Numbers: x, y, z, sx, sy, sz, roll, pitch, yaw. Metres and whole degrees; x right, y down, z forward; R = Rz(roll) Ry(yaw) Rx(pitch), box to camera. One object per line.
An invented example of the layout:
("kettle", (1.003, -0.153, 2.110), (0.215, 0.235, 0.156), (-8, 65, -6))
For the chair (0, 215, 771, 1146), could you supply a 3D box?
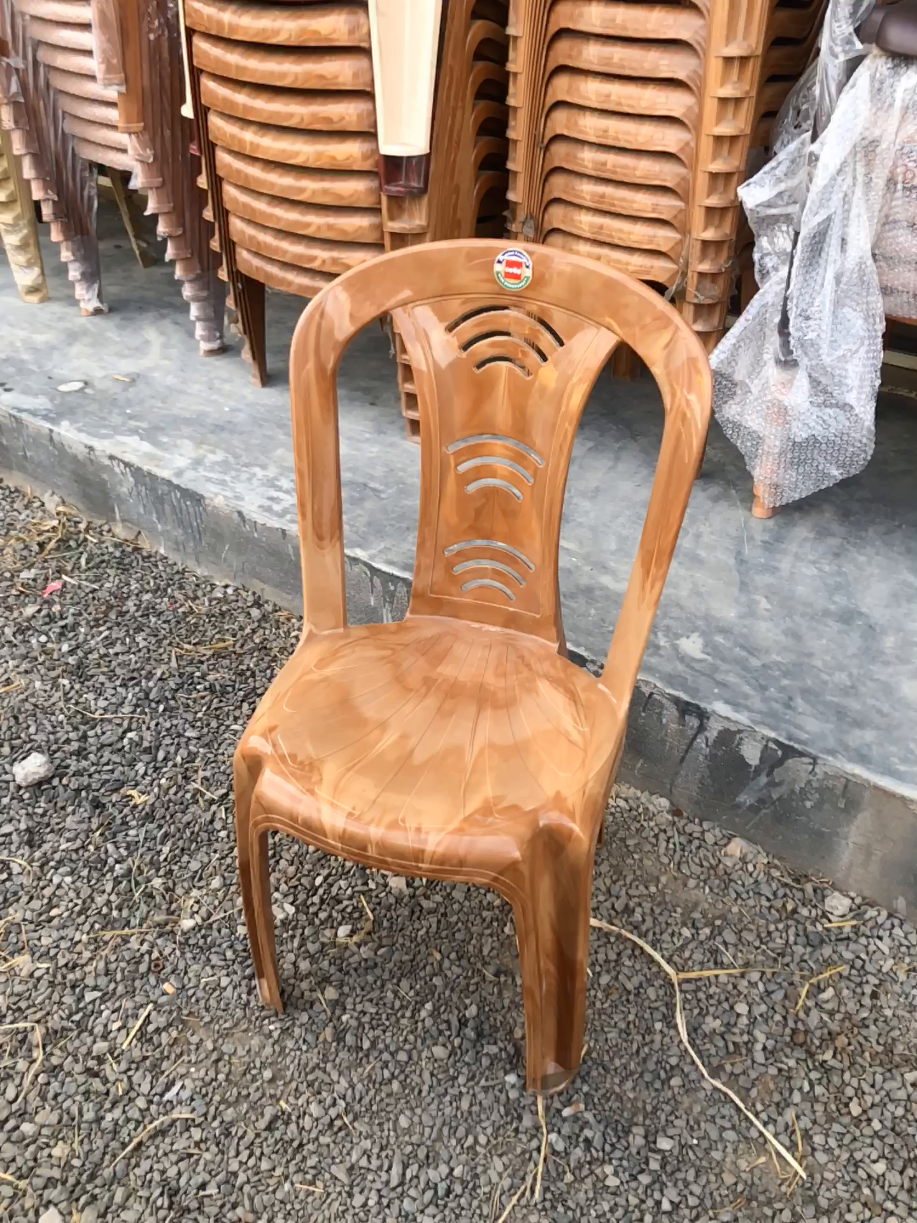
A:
("chair", (-0.012, 0.048, 1.141), (0.540, 0.766, 0.583), (11, 37, 14))
